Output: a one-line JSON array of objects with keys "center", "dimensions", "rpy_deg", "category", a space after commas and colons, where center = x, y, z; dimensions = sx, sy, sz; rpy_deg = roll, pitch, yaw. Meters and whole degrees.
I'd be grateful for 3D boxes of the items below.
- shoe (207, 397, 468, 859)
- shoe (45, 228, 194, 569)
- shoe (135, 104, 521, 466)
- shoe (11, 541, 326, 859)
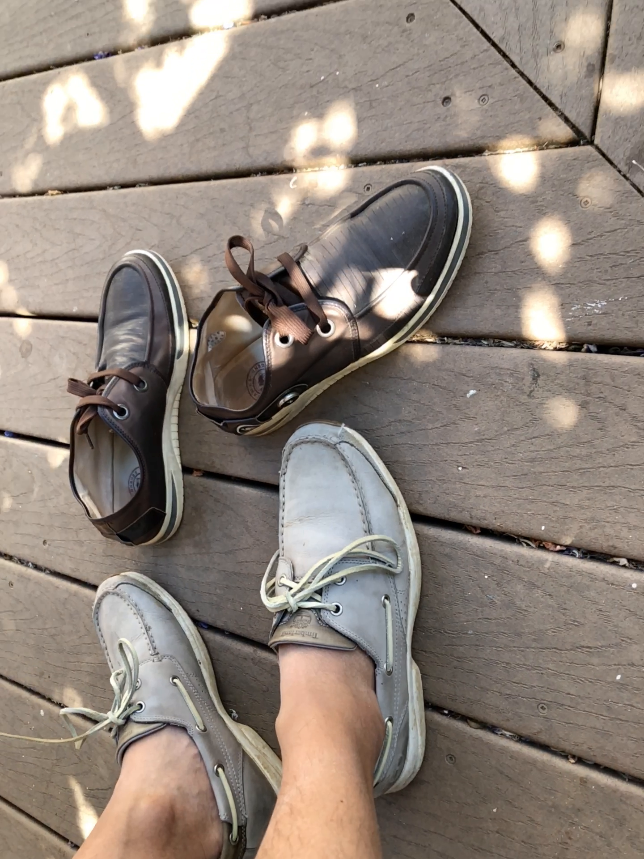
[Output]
[{"center": [0.012, 0.133, 0.520], "dimensions": [0.110, 0.101, 0.293], "rpy_deg": [-13, 83, 30], "category": "shoe"}, {"center": [-0.183, -0.027, 0.638], "dimensions": [0.110, 0.069, 0.278], "rpy_deg": [4, 93, 31], "category": "shoe"}, {"center": [-0.007, -0.091, 0.538], "dimensions": [0.278, 0.079, 0.109], "rpy_deg": [-36, 72, 27], "category": "shoe"}, {"center": [-0.139, 0.250, 0.607], "dimensions": [0.109, 0.086, 0.293], "rpy_deg": [-48, 67, 21], "category": "shoe"}]
